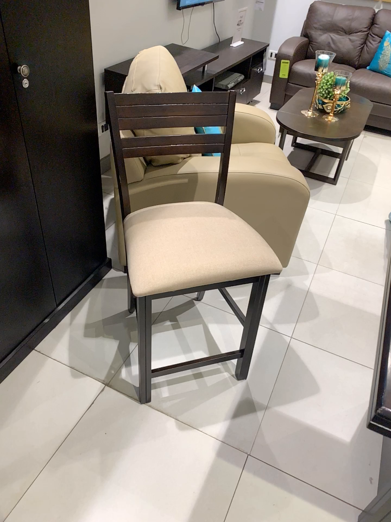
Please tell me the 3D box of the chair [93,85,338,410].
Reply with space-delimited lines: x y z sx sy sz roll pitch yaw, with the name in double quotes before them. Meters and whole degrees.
"chair" -0.023 -0.048 1.410 0.520 0.917 0.592 -9 41 -17
